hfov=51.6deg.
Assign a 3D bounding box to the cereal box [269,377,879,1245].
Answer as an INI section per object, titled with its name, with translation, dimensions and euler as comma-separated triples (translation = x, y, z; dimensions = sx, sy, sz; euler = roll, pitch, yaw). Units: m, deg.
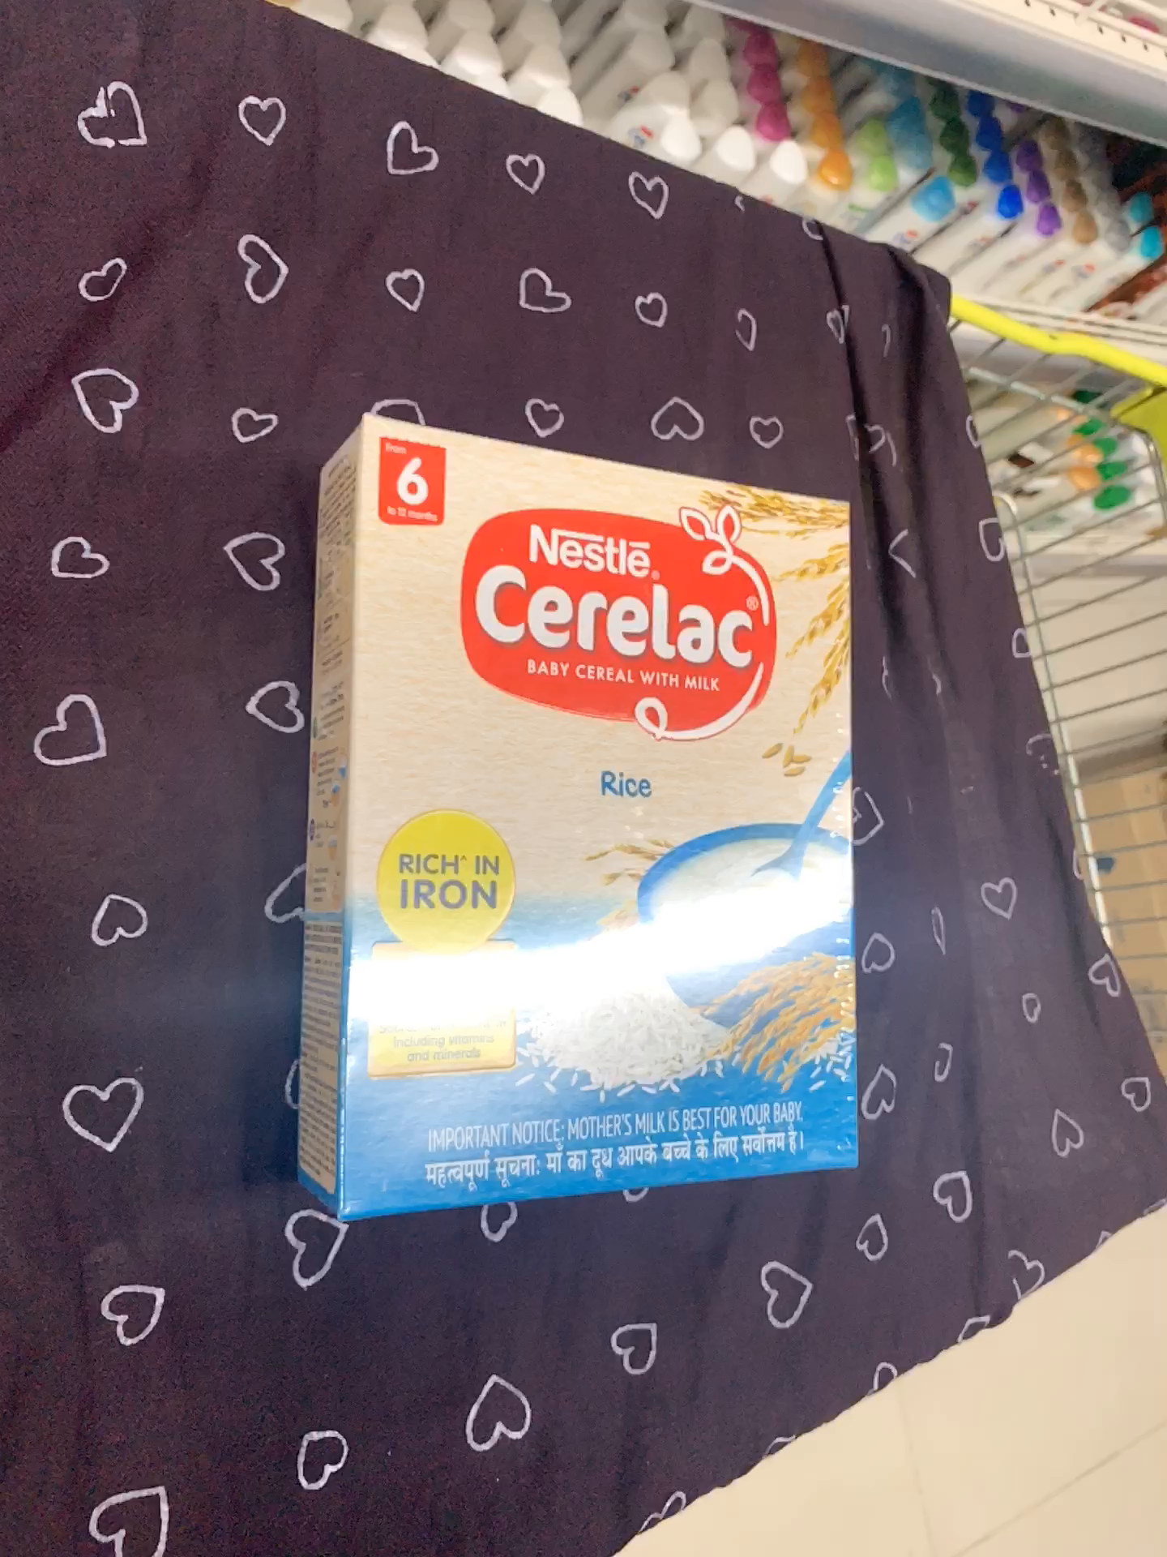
[cereal box]
translation = 0.002, 0.009, 0.331
dimensions = 0.160, 0.040, 0.200
euler = 3, 82, -27
